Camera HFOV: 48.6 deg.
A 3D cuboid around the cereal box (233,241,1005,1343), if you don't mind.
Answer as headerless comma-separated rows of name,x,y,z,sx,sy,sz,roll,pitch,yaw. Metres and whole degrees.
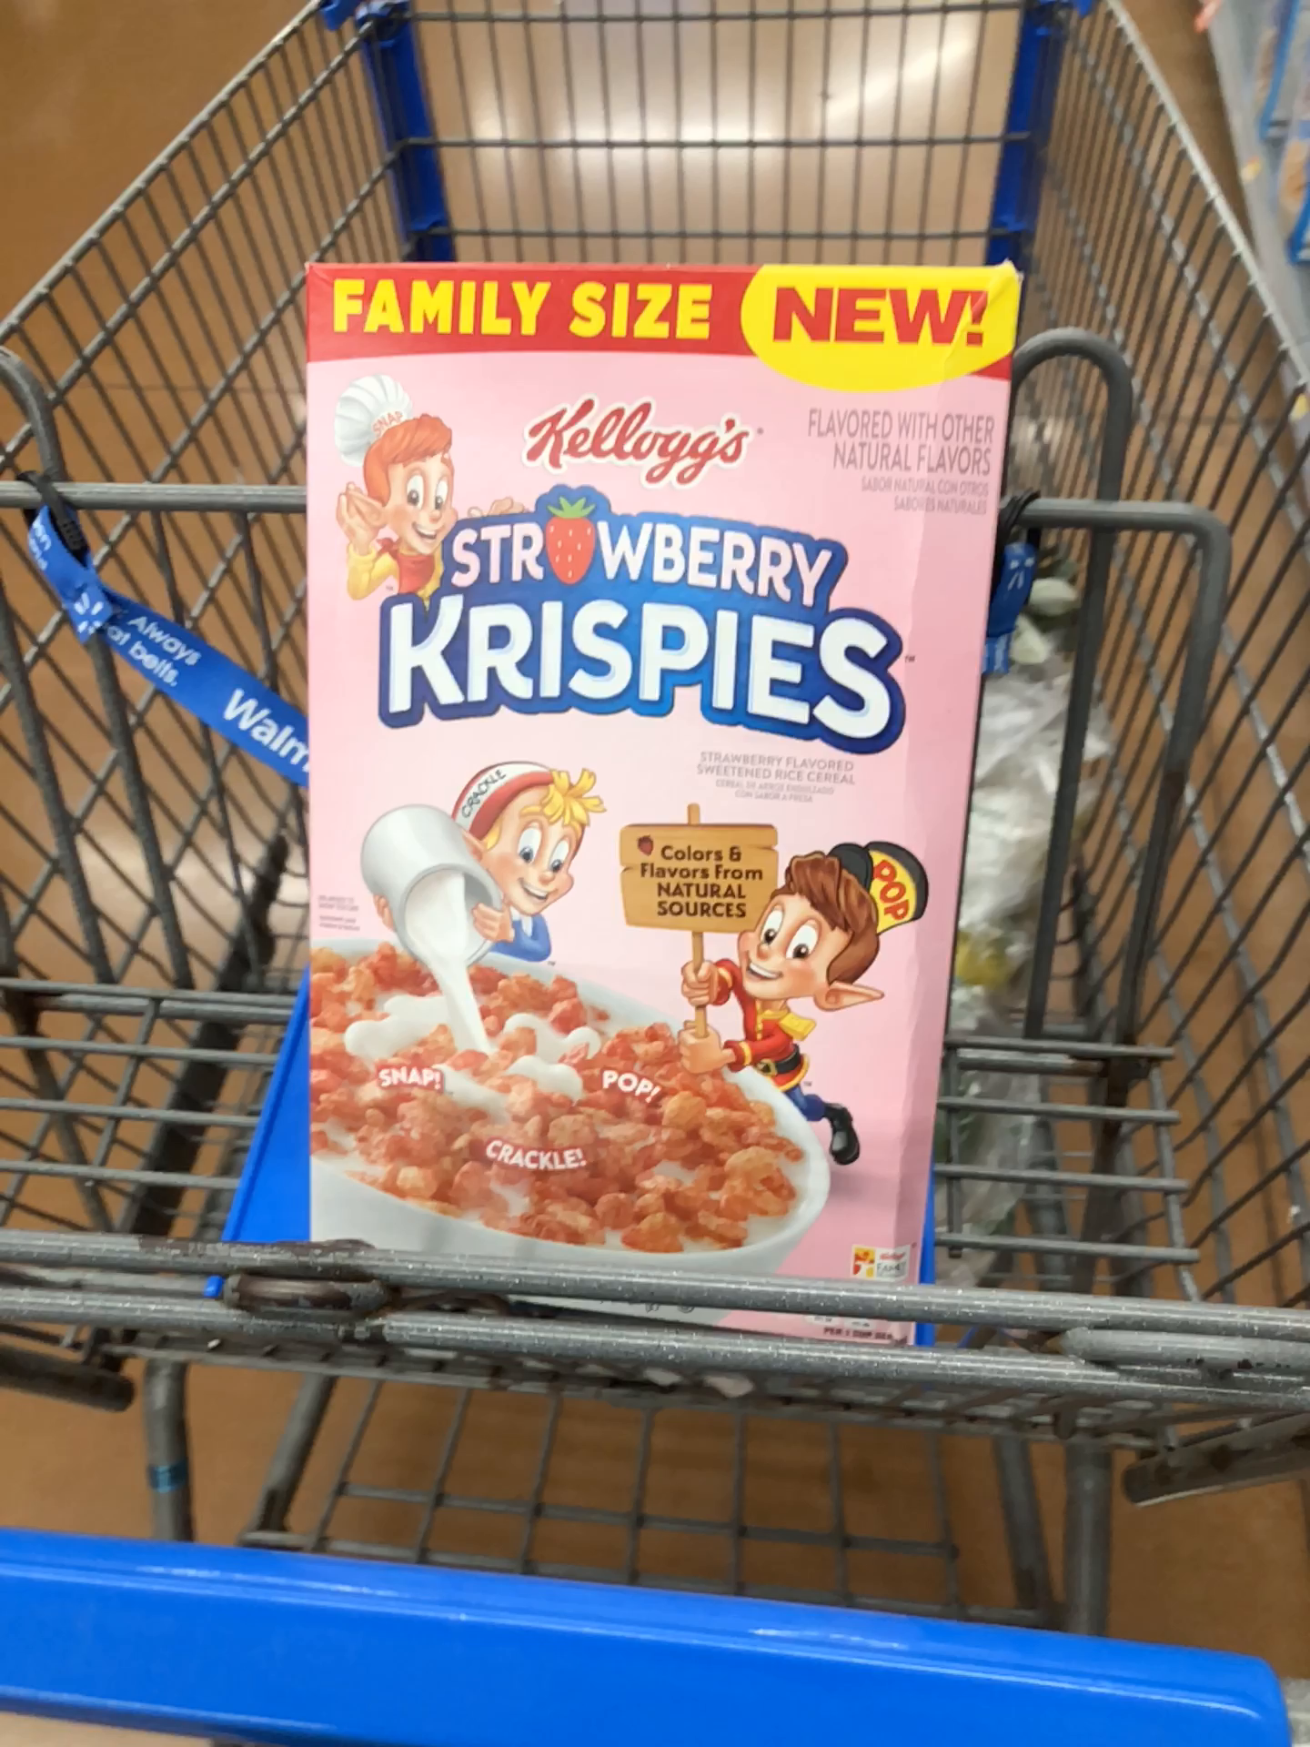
cereal box,-0.014,-0.024,0.436,0.200,0.290,0.080,4,10,7
